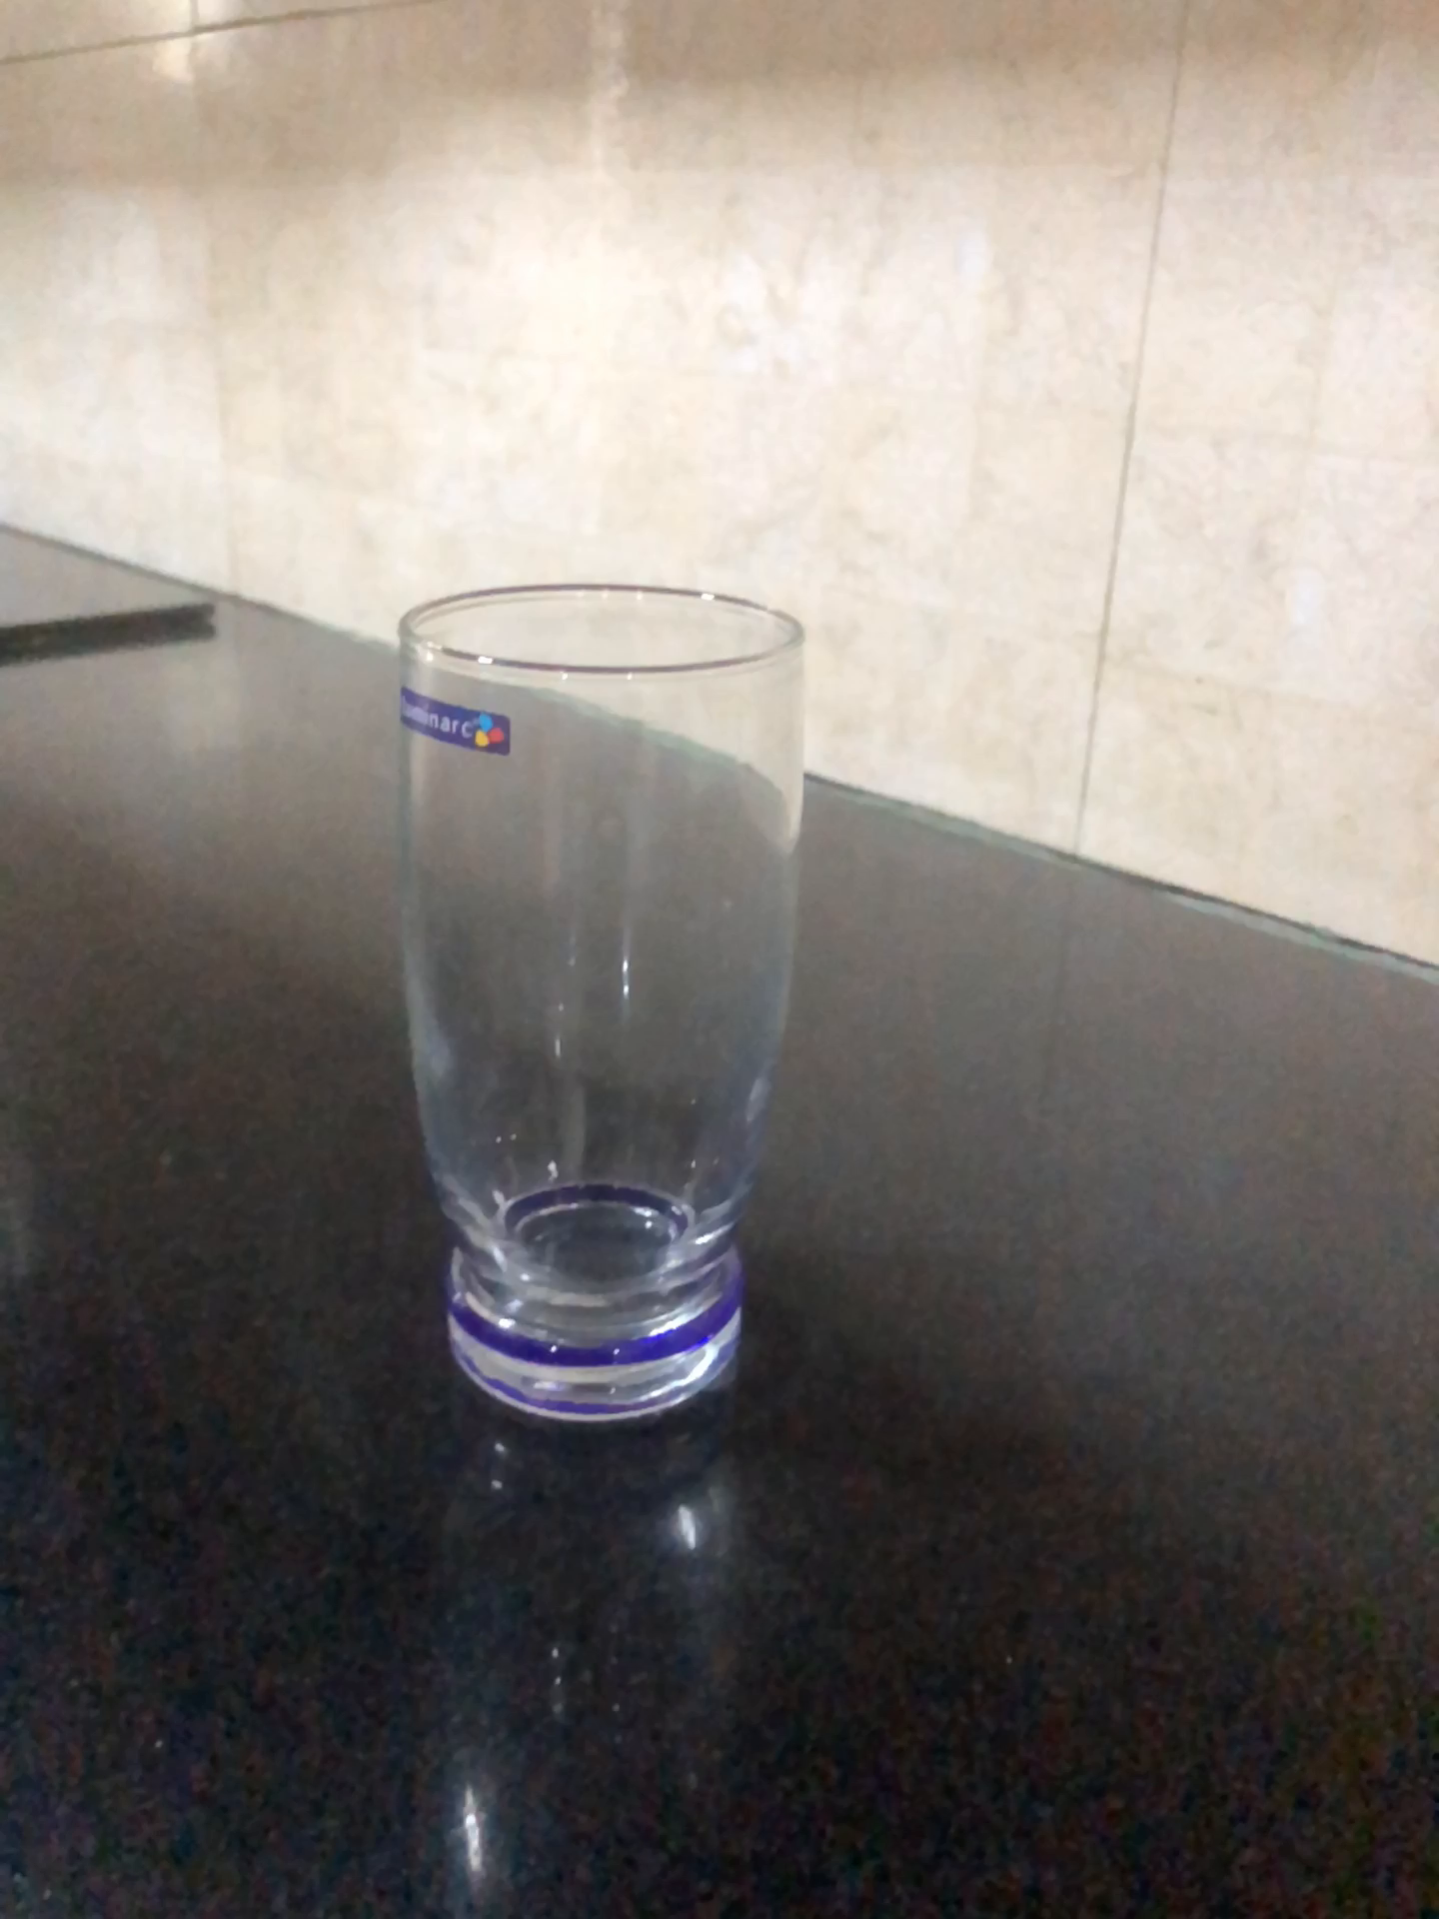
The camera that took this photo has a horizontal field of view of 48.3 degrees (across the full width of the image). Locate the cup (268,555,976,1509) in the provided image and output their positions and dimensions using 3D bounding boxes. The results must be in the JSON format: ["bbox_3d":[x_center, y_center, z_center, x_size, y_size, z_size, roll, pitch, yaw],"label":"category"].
[{"bbox_3d":[-0.016,0.004,0.279,0.080,0.129,0.080,2,22,-1],"label":"cup"}]
